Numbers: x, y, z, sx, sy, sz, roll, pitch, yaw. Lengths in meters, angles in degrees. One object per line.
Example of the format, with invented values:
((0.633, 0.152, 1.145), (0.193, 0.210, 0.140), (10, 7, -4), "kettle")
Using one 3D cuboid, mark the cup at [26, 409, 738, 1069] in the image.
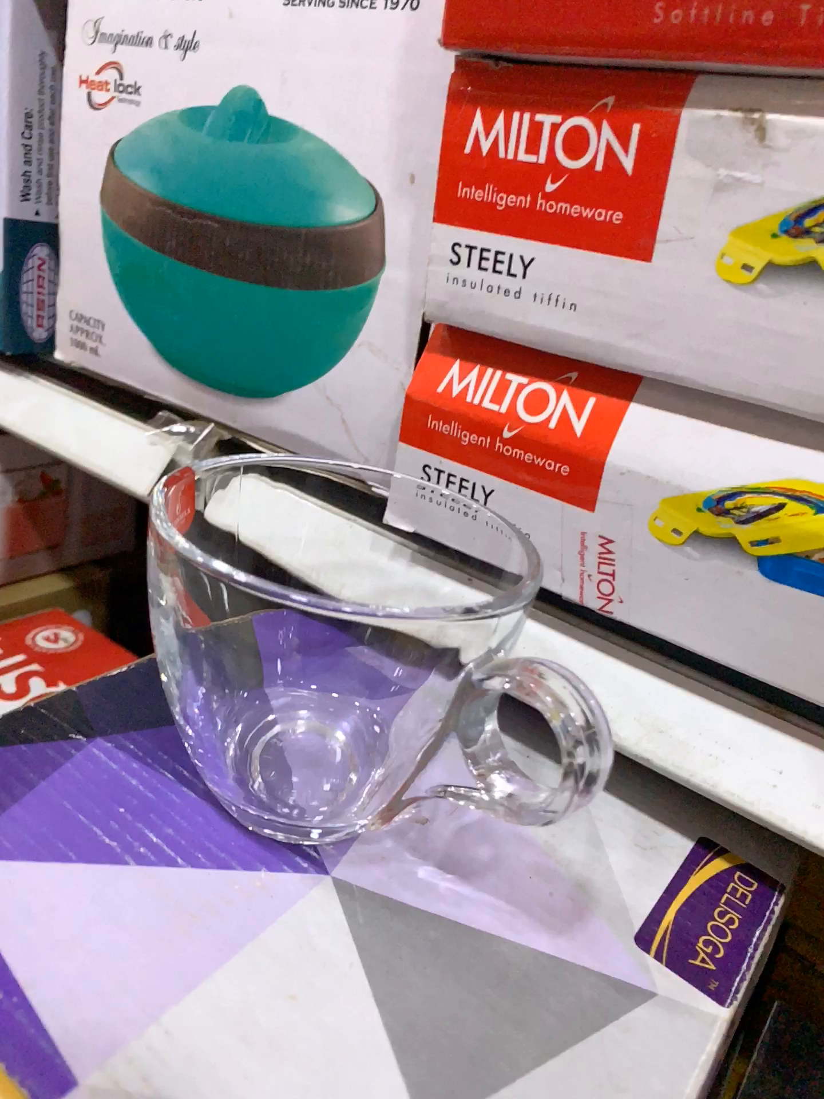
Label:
((-0.010, 0.020, 0.175), (0.110, 0.060, 0.080), (25, 29, 33), "cup")
